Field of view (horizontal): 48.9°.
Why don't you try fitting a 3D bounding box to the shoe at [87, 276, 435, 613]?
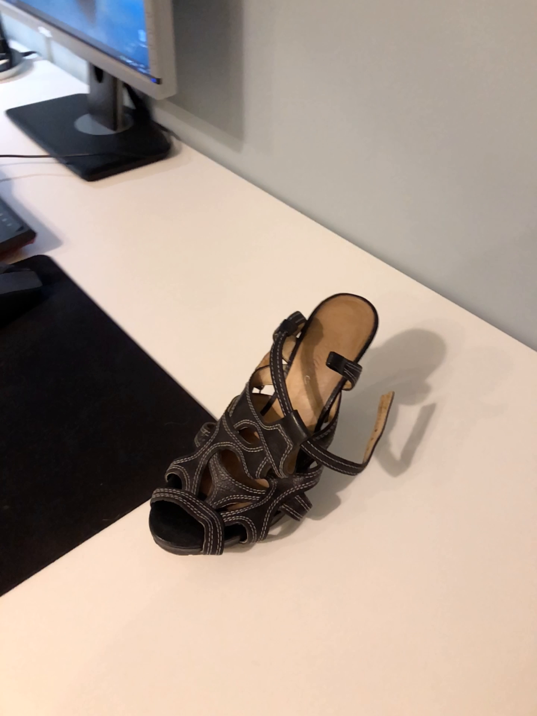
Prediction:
[{"bbox_3d":[0.003,0.048,0.421,0.221,0.099,0.100,-33,54,-31],"label":"shoe"}]
